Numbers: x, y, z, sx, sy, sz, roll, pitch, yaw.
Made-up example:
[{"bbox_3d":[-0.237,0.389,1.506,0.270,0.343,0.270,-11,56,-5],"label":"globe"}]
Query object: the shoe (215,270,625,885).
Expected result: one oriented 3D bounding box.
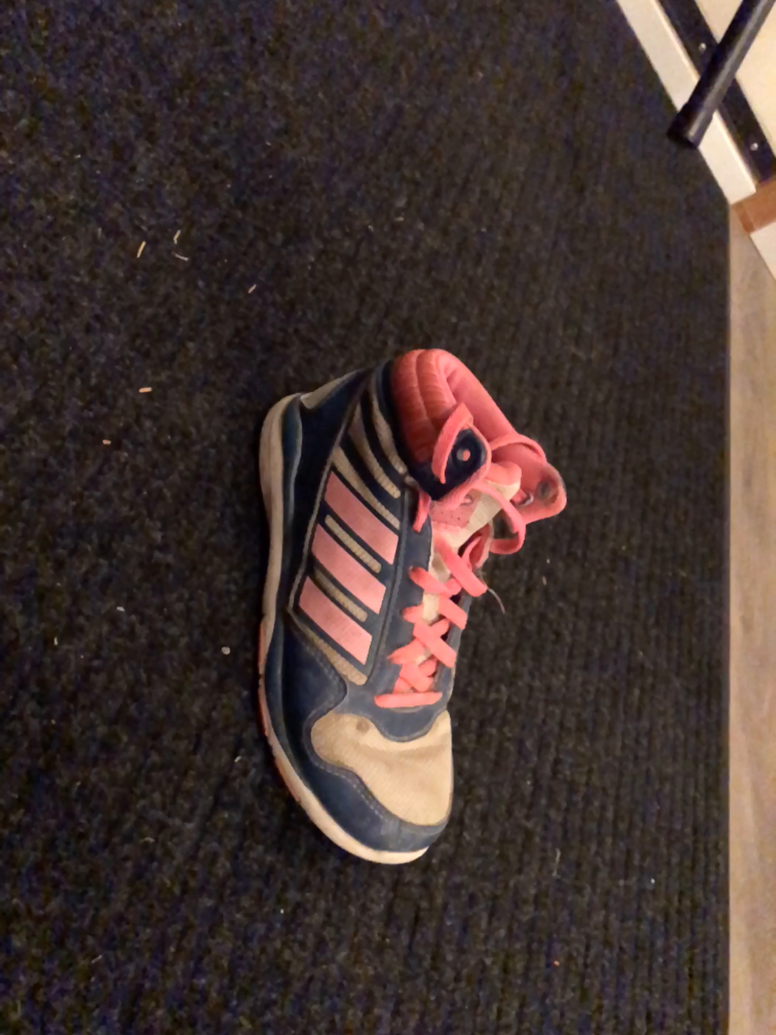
[{"bbox_3d":[0.007,0.028,0.340,0.091,0.099,0.200,11,66,-47],"label":"shoe"}]
